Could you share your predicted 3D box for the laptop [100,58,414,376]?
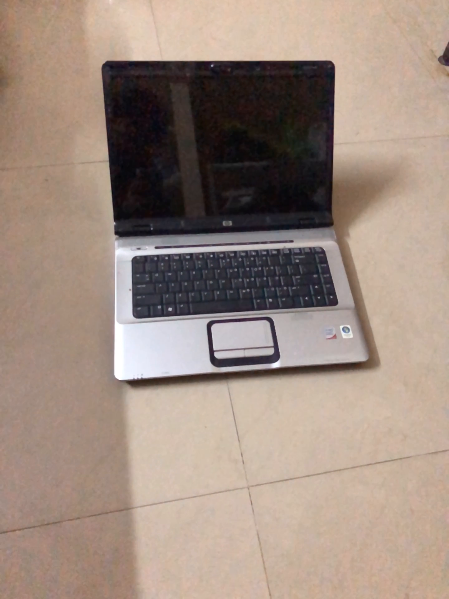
[{"bbox_3d":[0.014,-0.131,0.693,0.338,0.166,0.411,-3,60,-7],"label":"laptop"}]
